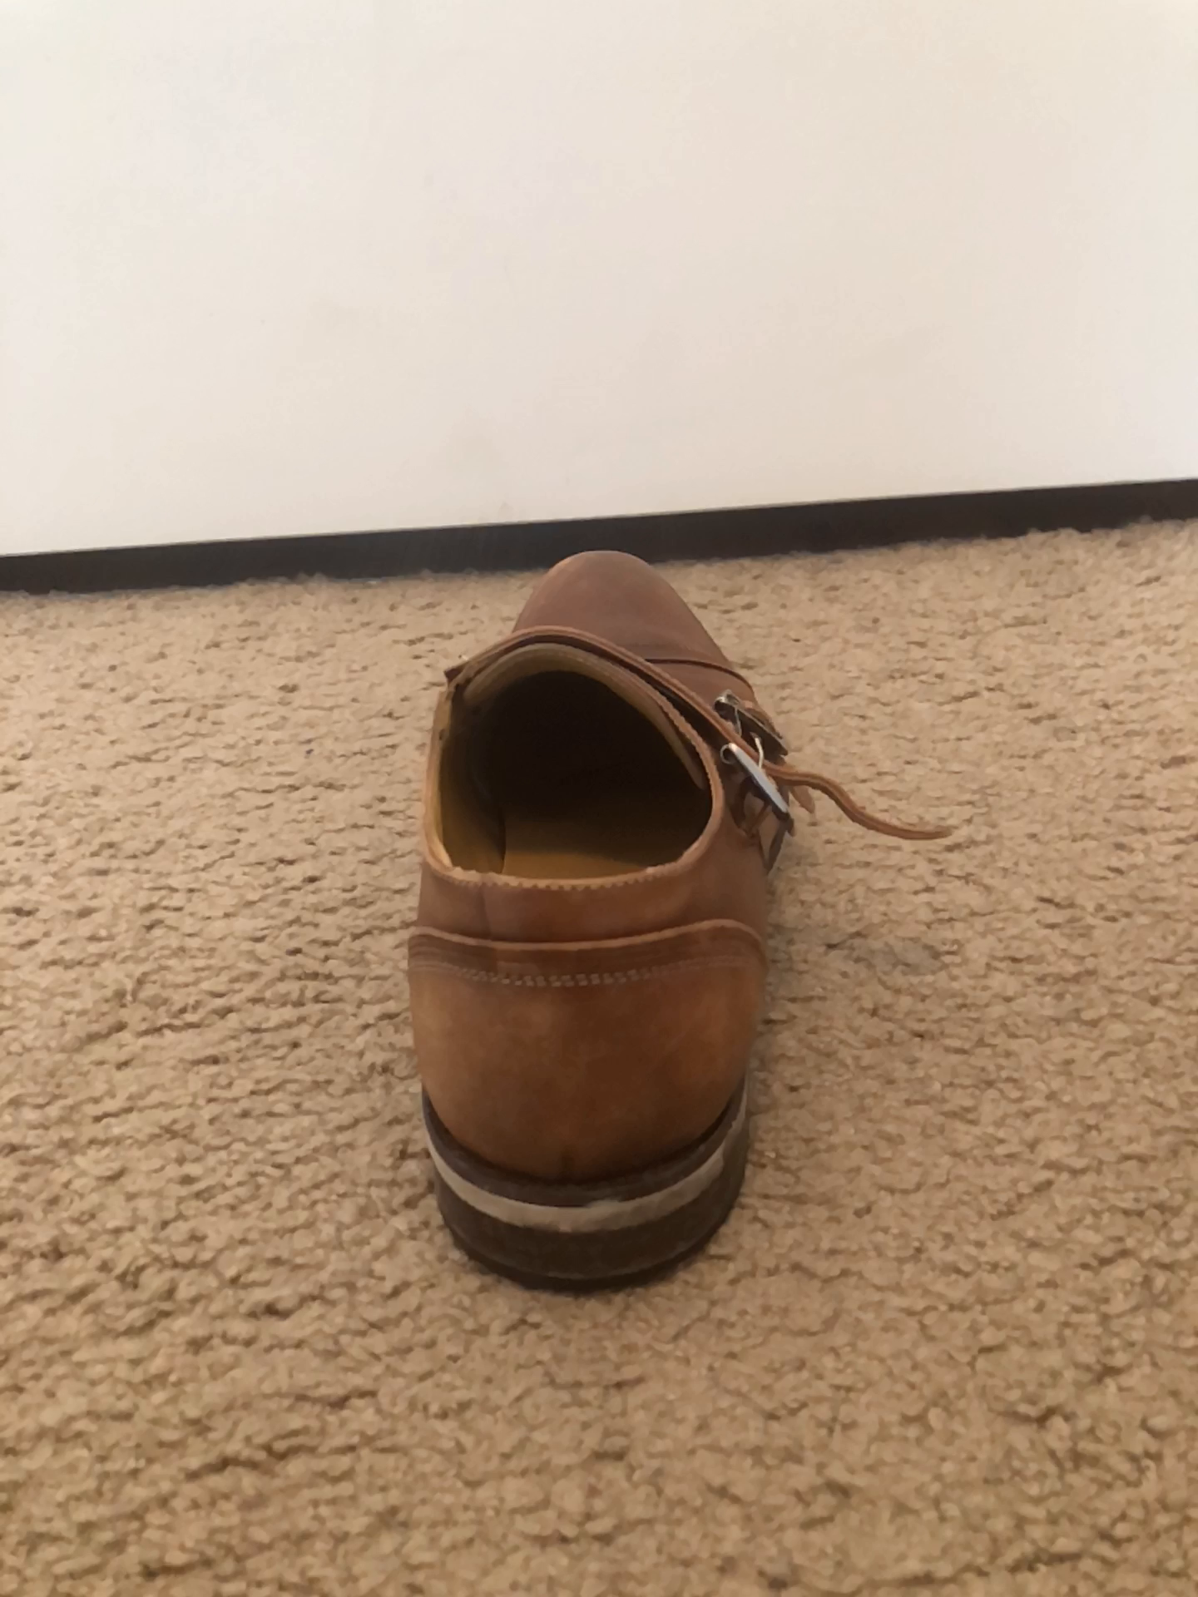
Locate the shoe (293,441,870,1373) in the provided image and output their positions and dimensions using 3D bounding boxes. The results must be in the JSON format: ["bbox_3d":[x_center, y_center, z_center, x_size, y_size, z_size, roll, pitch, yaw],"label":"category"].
[{"bbox_3d":[0.001,-0.001,0.376,0.099,0.107,0.287,-3,33,3],"label":"shoe"}]
